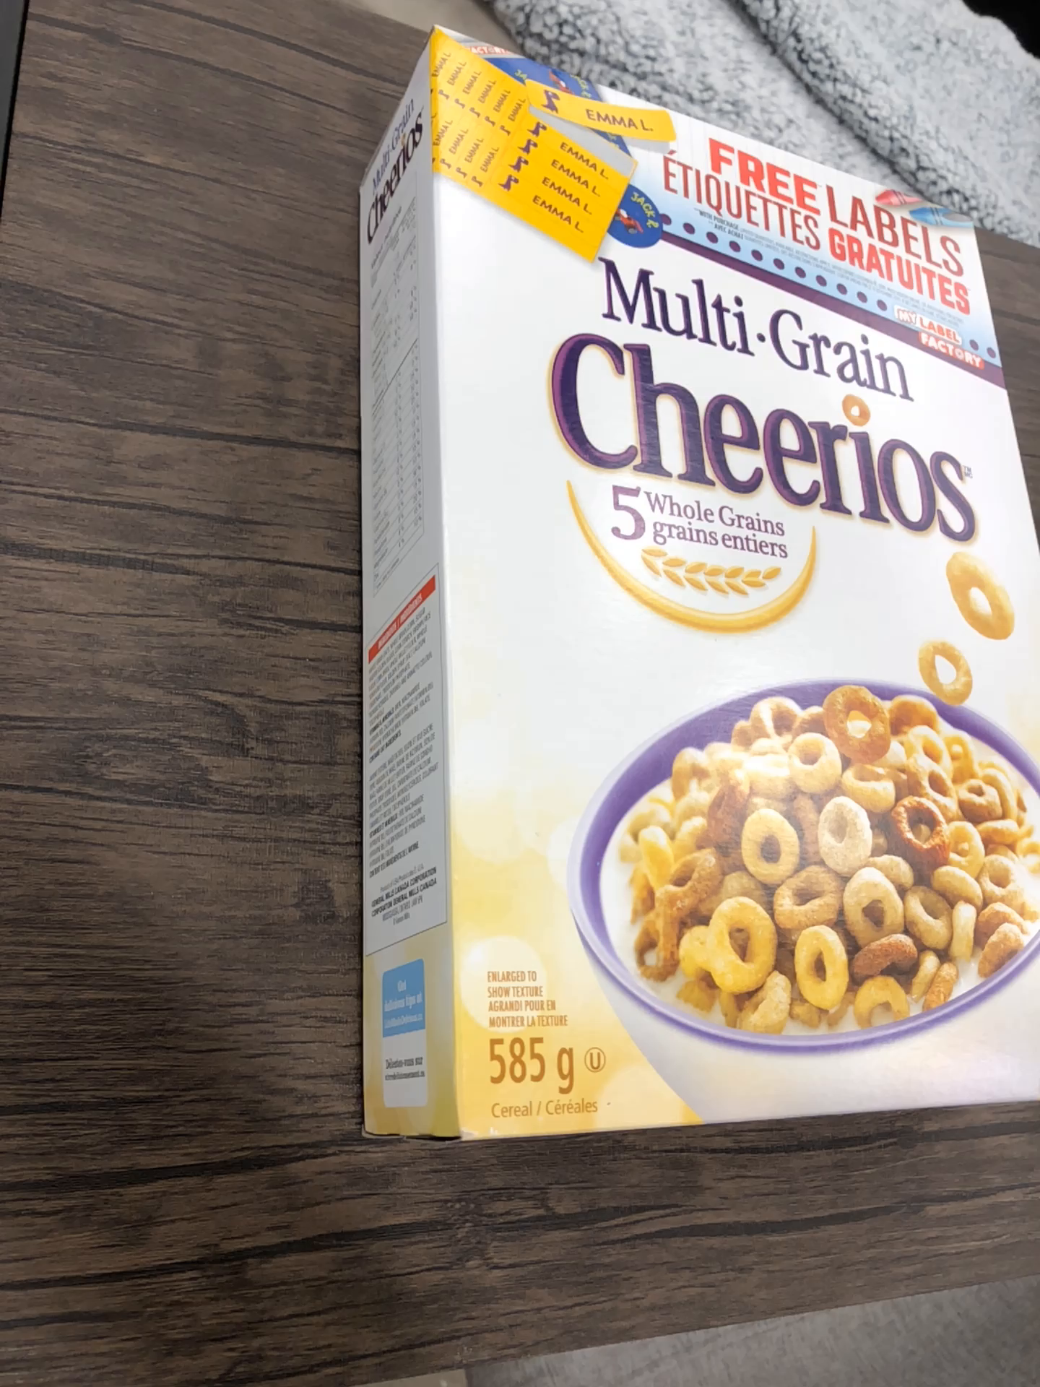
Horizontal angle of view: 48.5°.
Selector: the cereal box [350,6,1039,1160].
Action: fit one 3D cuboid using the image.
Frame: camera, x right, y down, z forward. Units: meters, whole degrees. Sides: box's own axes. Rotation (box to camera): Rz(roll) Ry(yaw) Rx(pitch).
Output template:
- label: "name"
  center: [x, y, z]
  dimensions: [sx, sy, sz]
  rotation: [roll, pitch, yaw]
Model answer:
- label: "cereal box"
  center: [0.075, -0.034, 0.387]
  dimensions: [0.251, 0.070, 0.340]
  rotation: [7, 67, -24]
